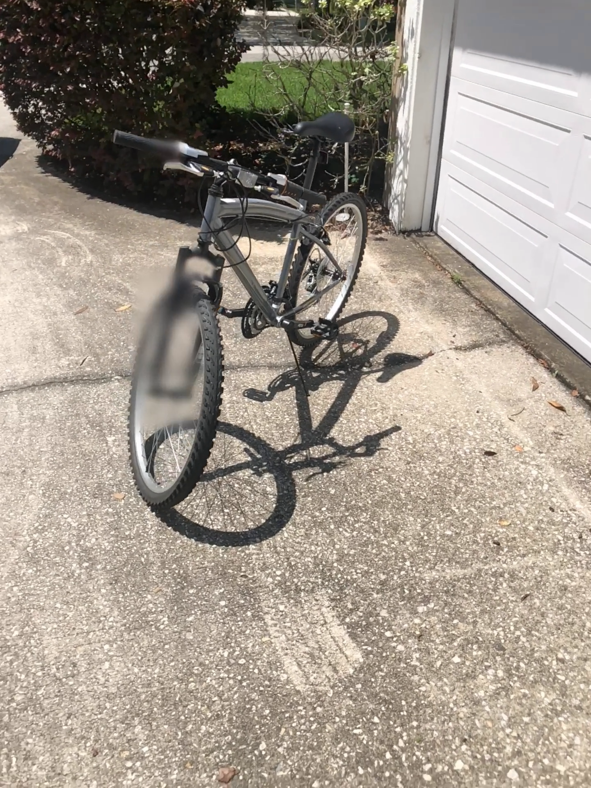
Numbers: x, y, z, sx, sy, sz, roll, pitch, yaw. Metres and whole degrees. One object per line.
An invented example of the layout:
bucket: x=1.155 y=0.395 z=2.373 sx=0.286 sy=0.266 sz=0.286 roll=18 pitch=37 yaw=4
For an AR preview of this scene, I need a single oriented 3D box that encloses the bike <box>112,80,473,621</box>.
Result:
bike: x=0.116 y=-0.353 z=2.157 sx=0.679 sy=0.979 sz=1.539 roll=10 pitch=36 yaw=17
